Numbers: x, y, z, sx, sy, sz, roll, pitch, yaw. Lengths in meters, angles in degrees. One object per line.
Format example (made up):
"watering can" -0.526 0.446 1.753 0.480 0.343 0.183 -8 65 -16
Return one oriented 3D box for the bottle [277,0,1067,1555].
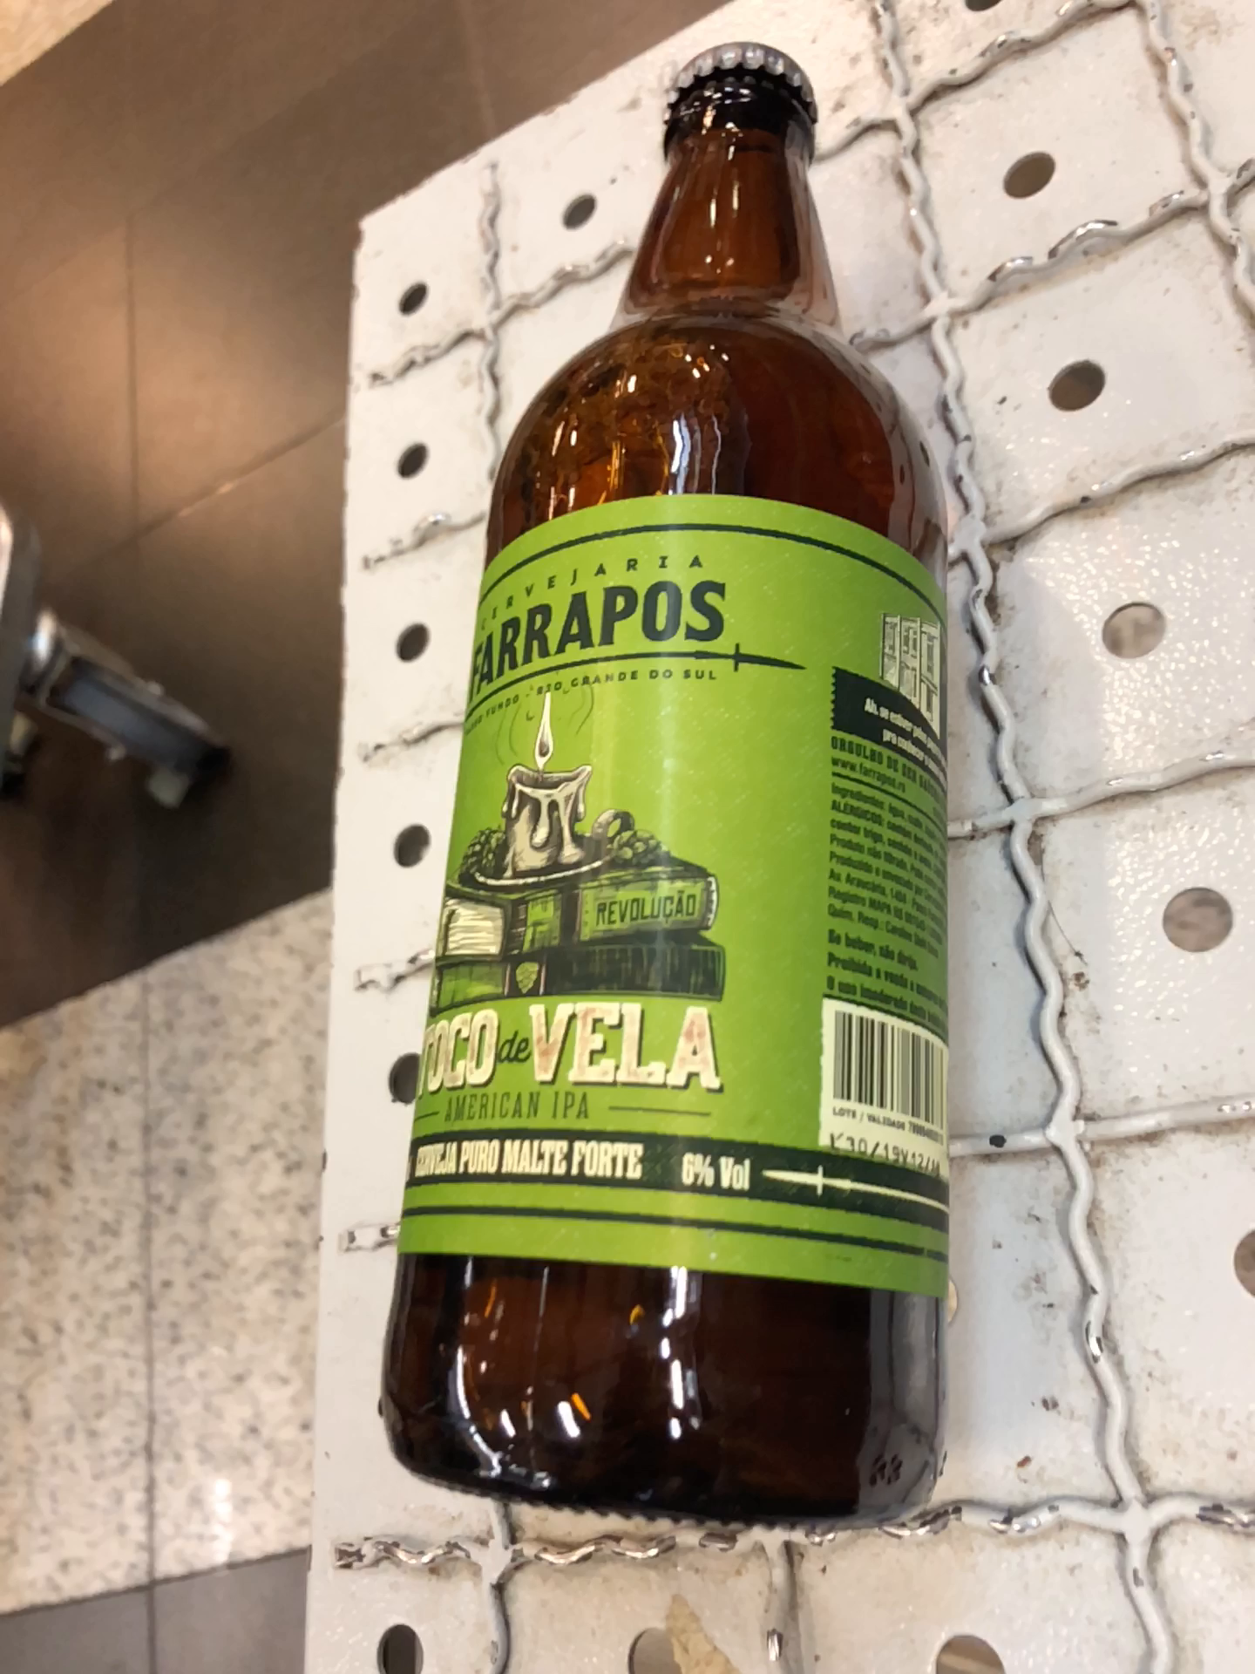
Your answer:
"bottle" 0.017 -0.040 0.223 0.080 0.070 0.260 -6 69 27
